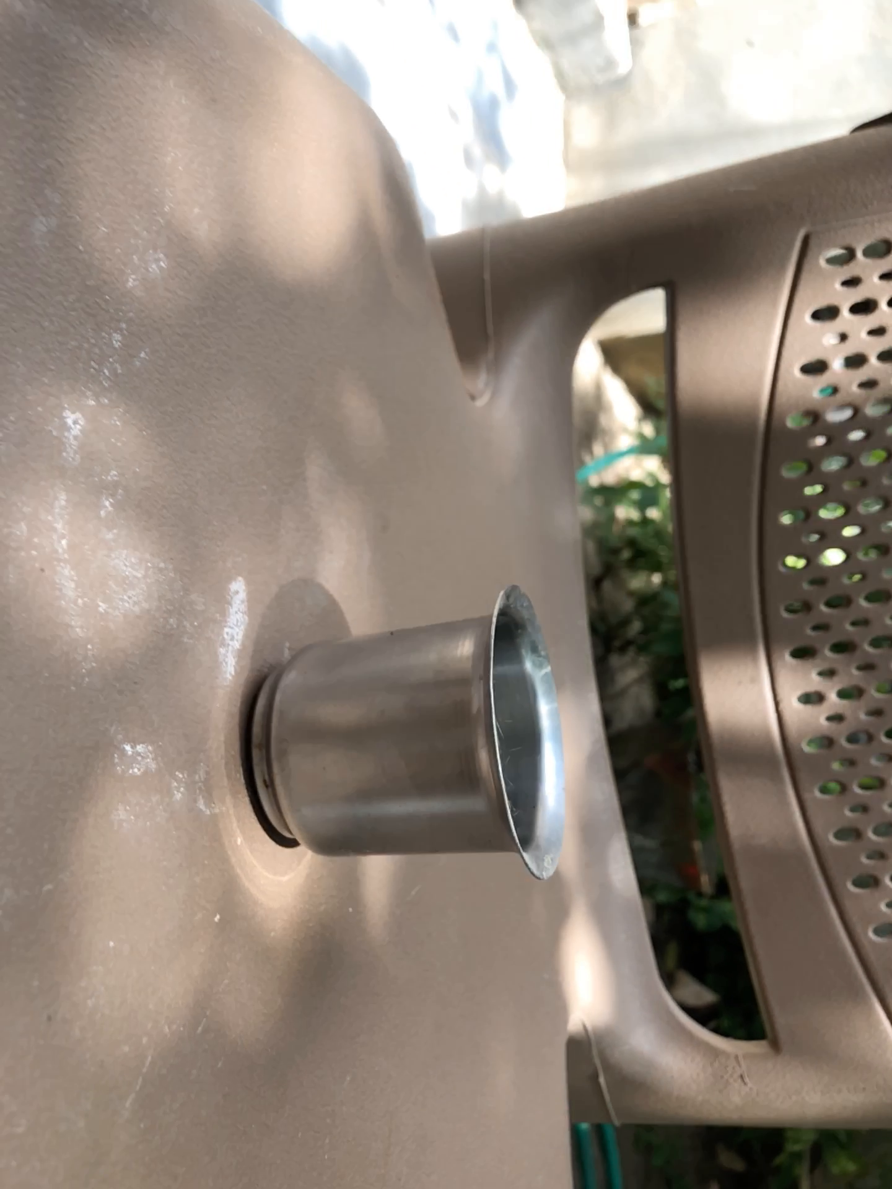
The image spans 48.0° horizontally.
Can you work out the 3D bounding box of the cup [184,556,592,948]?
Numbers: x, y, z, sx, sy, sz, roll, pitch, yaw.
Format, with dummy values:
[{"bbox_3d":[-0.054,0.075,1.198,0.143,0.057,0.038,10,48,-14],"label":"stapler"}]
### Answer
[{"bbox_3d":[-0.007,0.038,0.223,0.060,0.060,0.060,-8,90,-67],"label":"cup"}]
